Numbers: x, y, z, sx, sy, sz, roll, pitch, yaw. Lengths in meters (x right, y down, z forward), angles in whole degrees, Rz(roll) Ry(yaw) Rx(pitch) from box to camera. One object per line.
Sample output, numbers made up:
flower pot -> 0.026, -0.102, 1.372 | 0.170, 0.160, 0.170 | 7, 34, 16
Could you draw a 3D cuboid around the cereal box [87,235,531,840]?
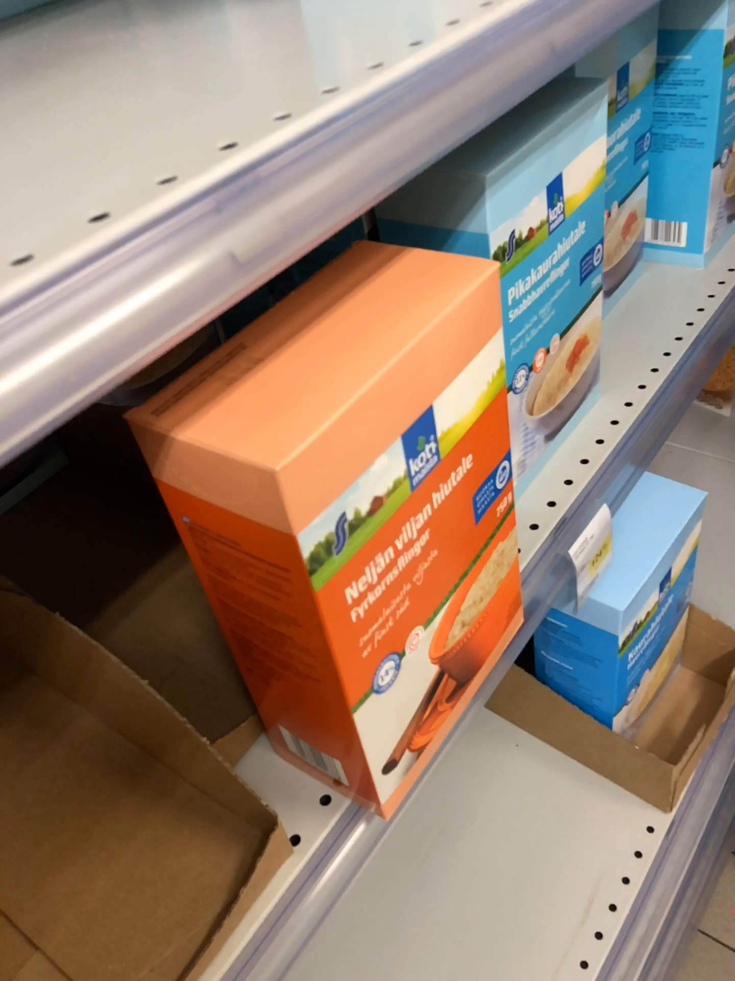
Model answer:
cereal box -> -0.002, 0.026, 0.376 | 0.080, 0.229, 0.150 | 19, 50, 34
